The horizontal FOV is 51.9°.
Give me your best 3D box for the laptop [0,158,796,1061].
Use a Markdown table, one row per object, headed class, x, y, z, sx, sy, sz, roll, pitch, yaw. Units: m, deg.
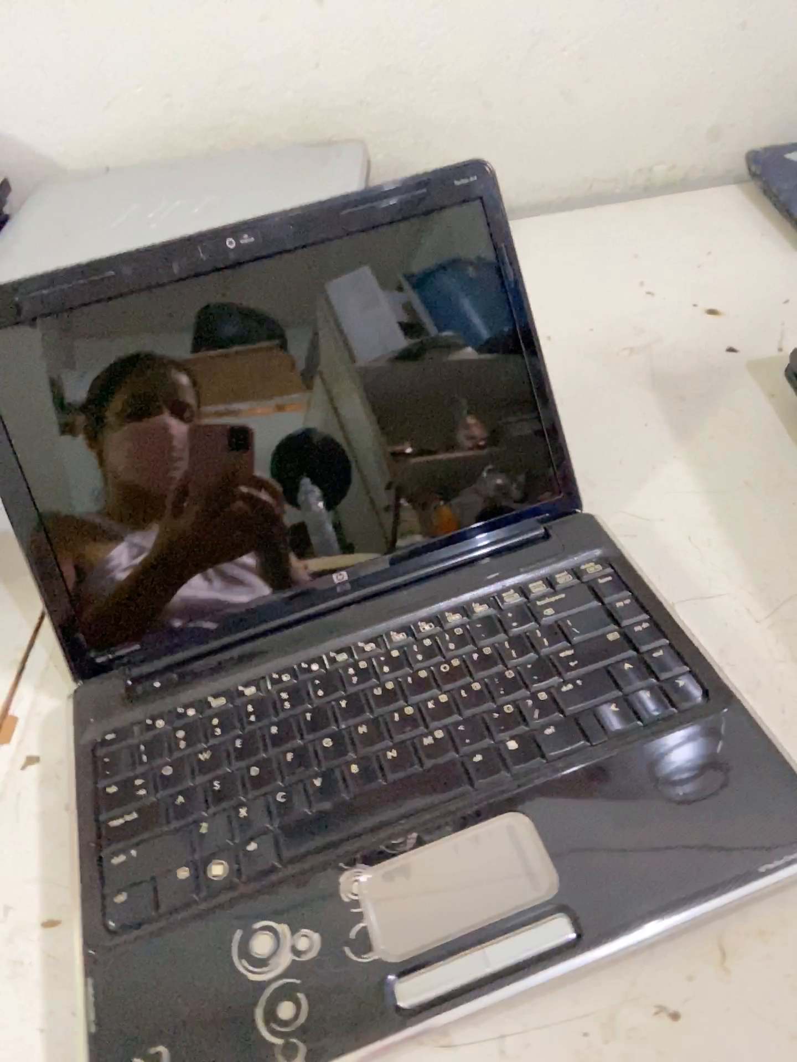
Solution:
| class | x | y | z | sx | sy | sz | roll | pitch | yaw |
| --- | --- | --- | --- | --- | --- | --- | --- | --- | --- |
| laptop | -0.028 | 0.006 | 0.401 | 0.330 | 0.176 | 0.373 | -18 | 43 | -7 |
